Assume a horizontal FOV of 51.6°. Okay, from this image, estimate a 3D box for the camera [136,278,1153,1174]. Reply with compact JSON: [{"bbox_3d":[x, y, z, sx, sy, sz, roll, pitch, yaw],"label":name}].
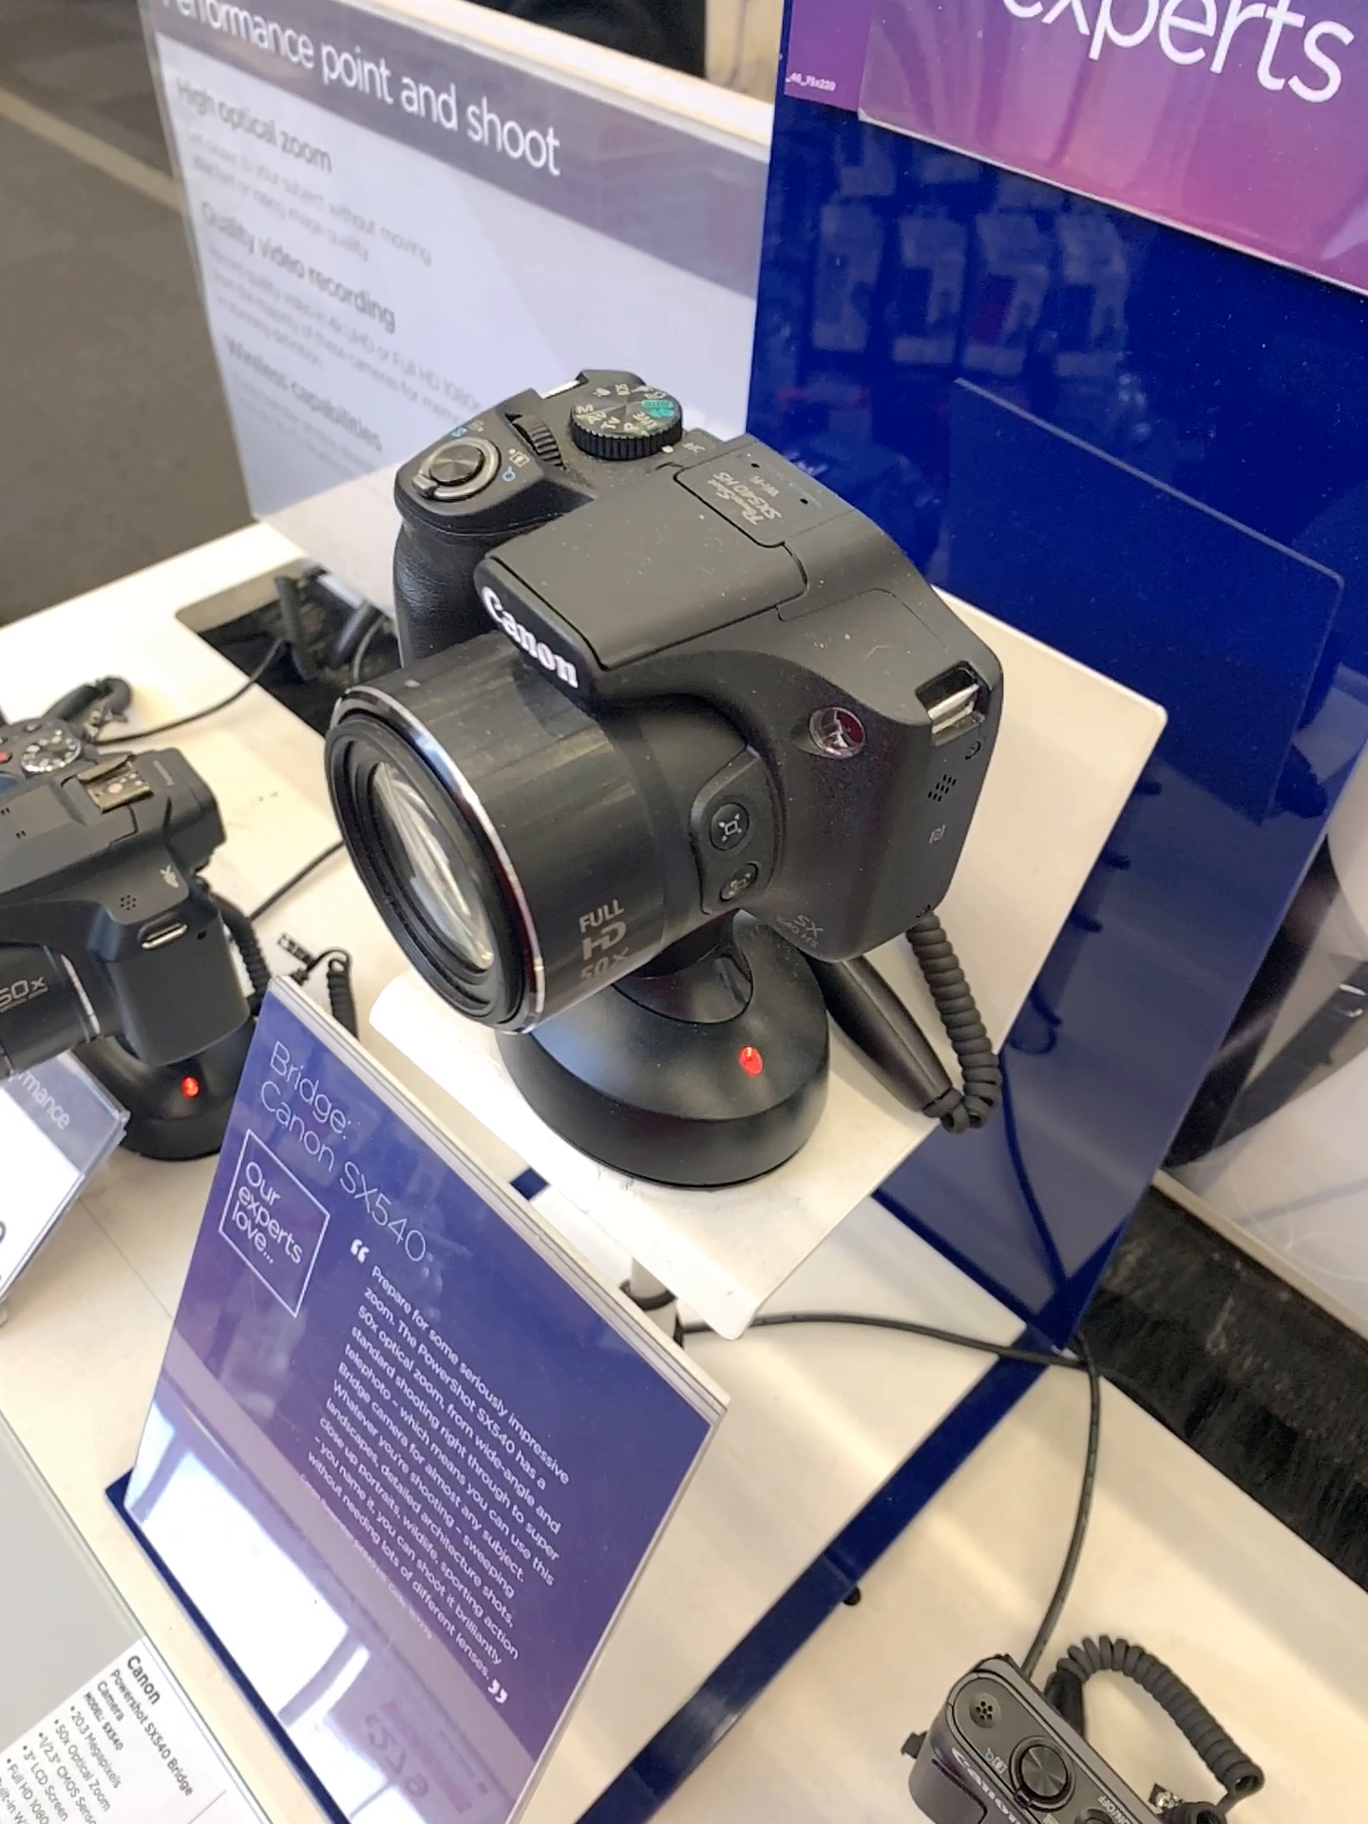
[{"bbox_3d":[-0.010,-0.043,0.248,0.110,0.069,0.121,-28,54,-27],"label":"camera"}]
